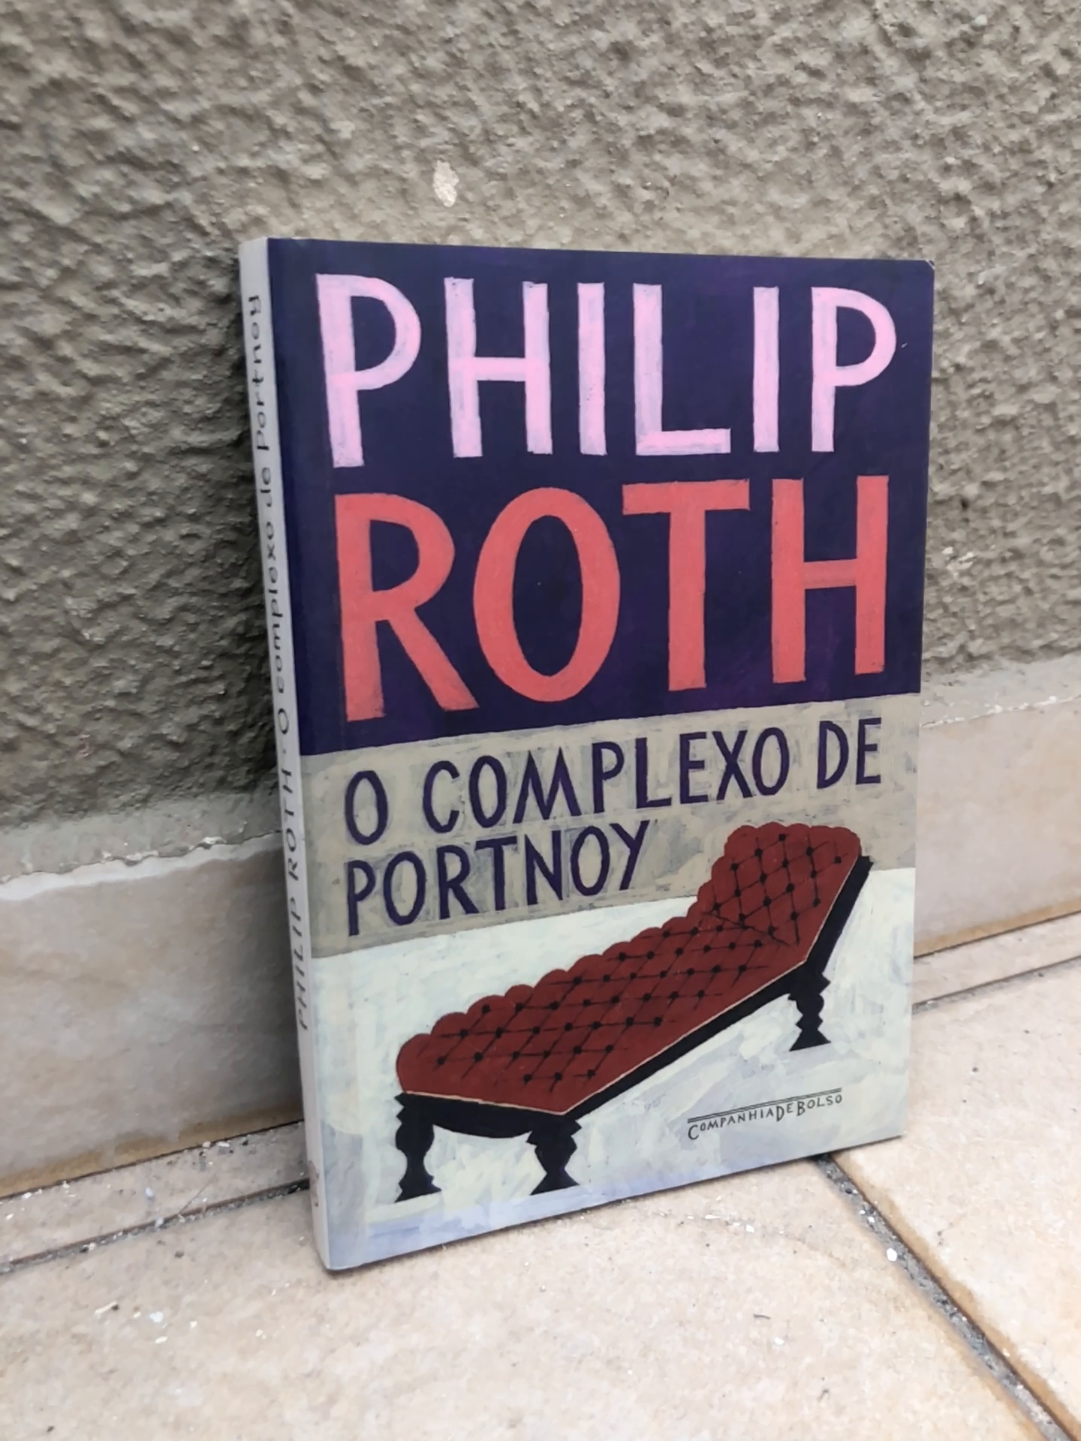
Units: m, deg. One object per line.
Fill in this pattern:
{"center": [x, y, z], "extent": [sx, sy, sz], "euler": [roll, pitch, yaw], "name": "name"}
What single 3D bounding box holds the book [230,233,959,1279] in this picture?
{"center": [0.014, 0.006, 0.229], "extent": [0.126, 0.179, 0.023], "euler": [-6, 15, -18], "name": "book"}
